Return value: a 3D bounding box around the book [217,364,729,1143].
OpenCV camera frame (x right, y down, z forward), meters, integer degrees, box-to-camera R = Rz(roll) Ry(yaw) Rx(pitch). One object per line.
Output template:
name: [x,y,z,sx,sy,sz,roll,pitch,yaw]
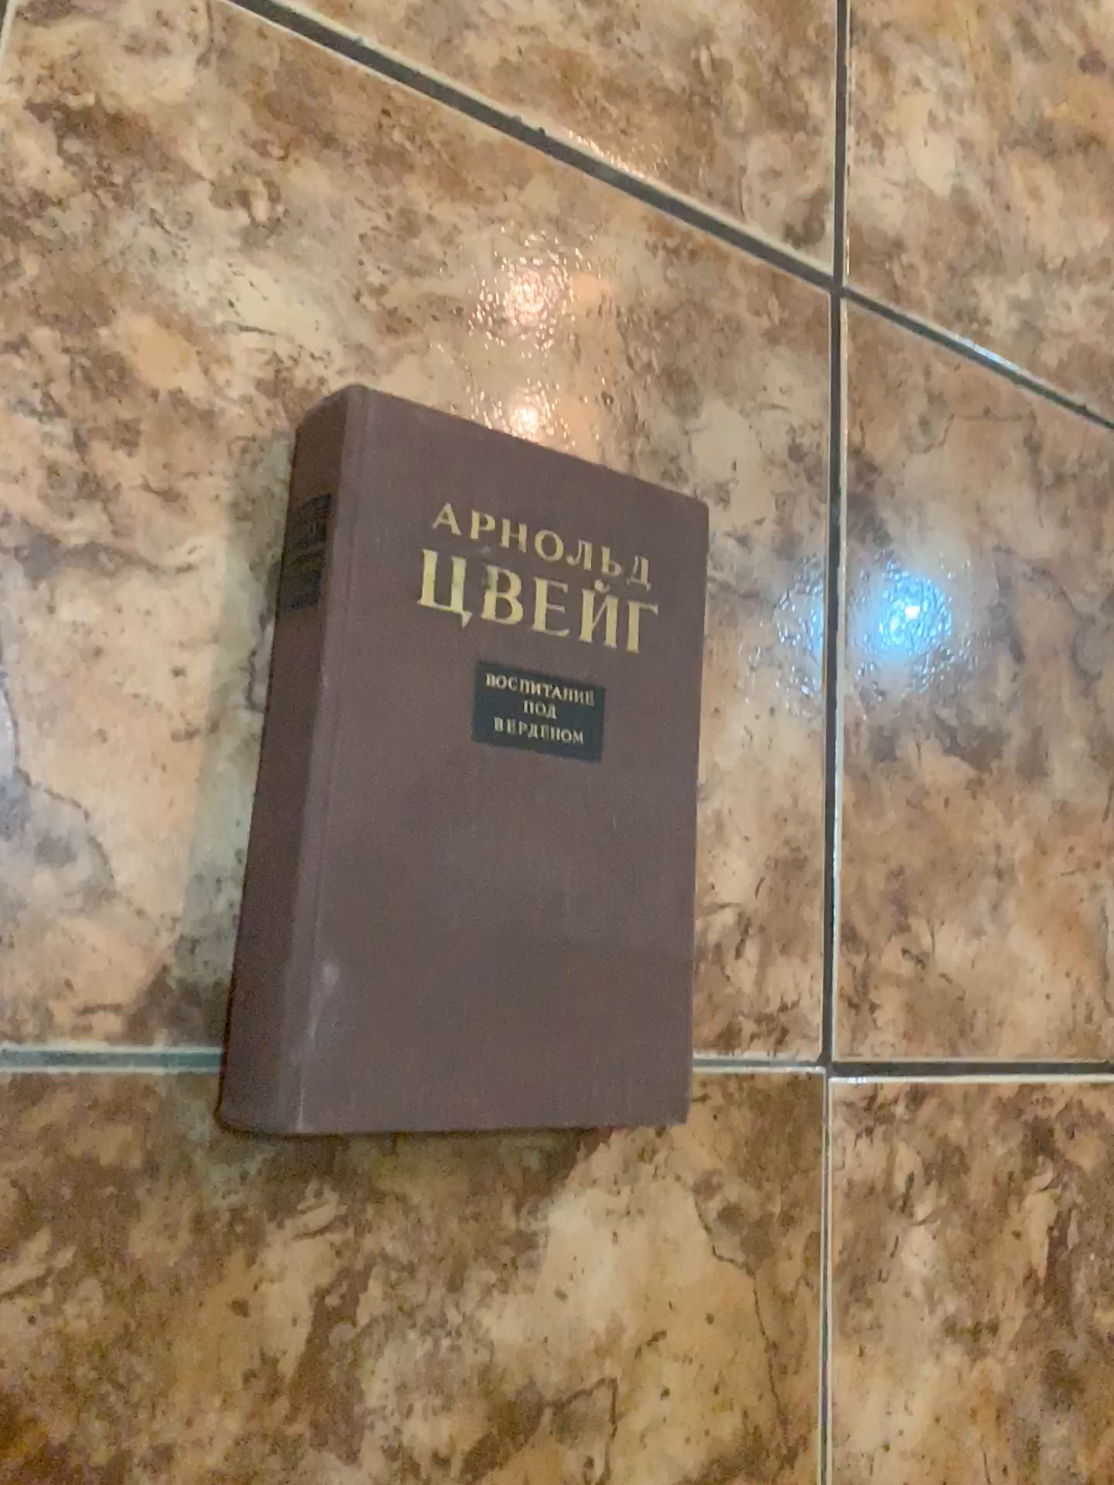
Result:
book: [-0.016,0.009,0.345,0.139,0.034,0.205,10,77,-31]
